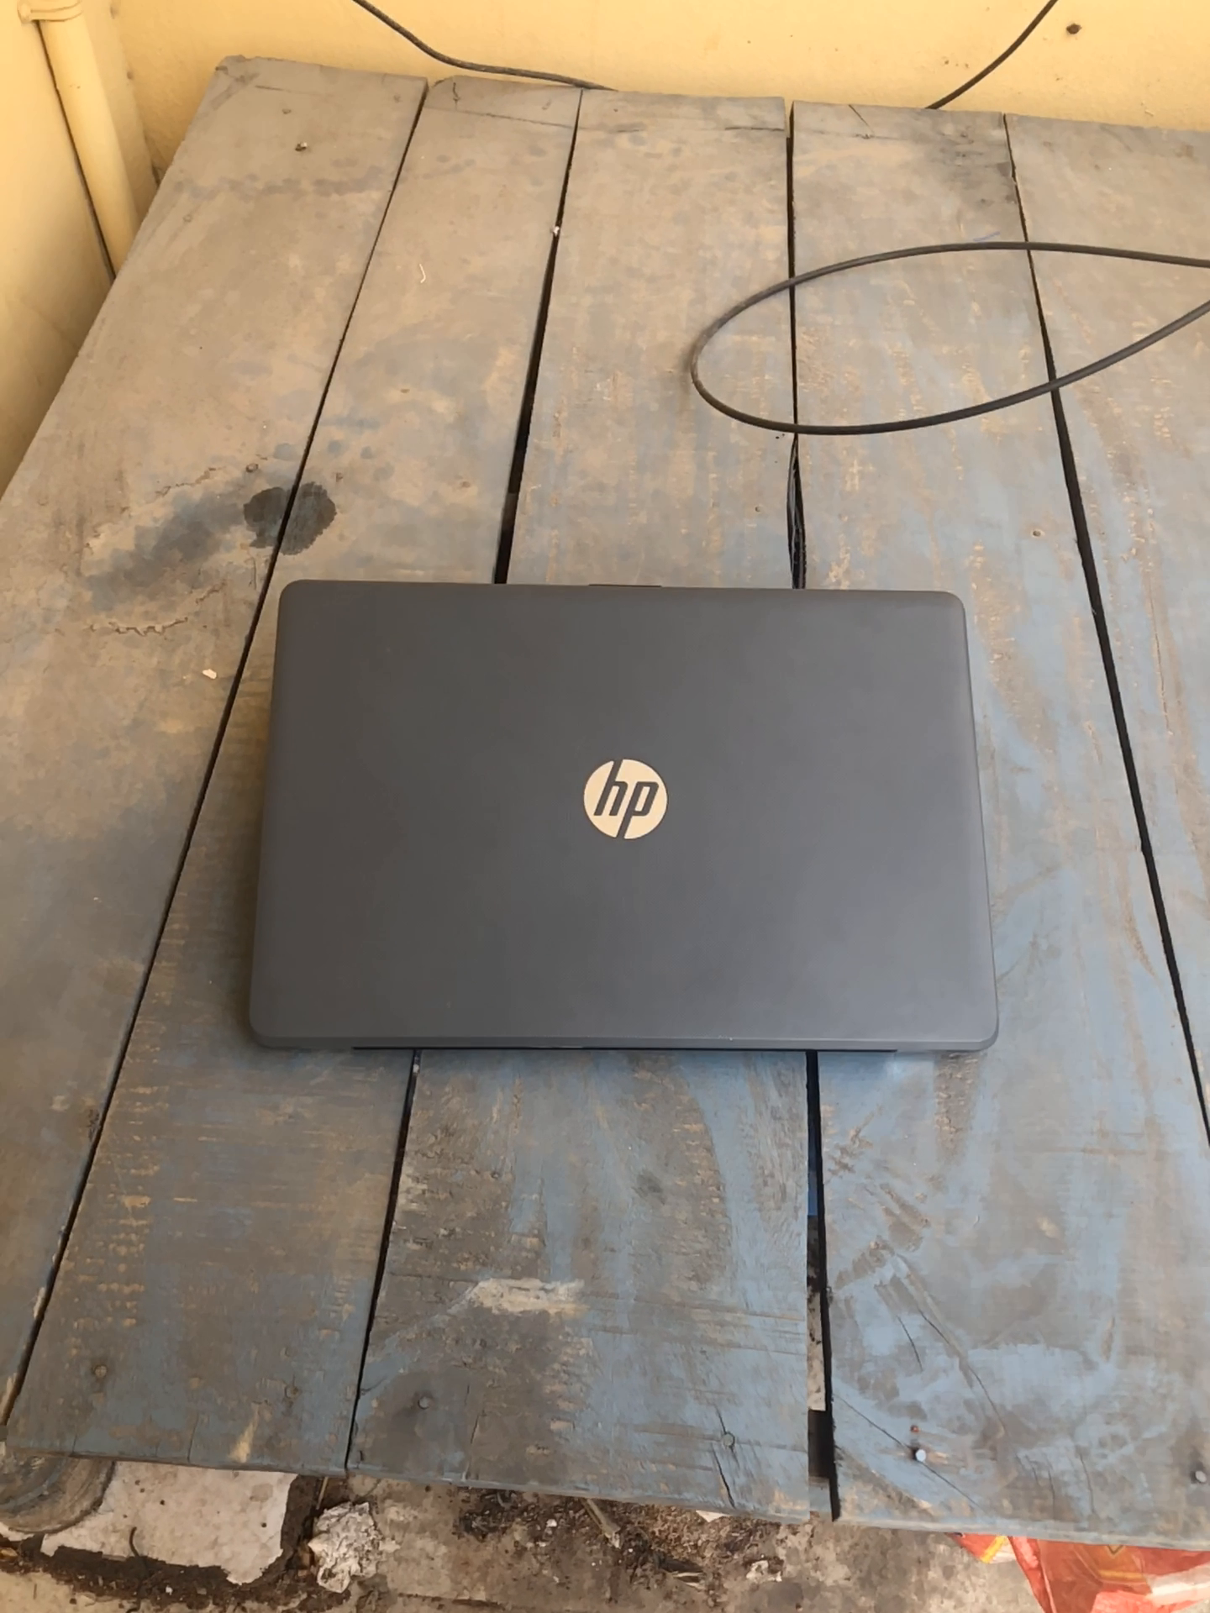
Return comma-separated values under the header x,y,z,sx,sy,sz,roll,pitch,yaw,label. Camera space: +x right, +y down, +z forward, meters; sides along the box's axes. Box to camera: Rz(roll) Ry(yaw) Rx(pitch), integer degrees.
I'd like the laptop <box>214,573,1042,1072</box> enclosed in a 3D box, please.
x,y,z,sx,sy,sz,roll,pitch,yaw,label
0.009,0.002,0.690,0.361,0.096,0.244,1,53,-1,laptop
